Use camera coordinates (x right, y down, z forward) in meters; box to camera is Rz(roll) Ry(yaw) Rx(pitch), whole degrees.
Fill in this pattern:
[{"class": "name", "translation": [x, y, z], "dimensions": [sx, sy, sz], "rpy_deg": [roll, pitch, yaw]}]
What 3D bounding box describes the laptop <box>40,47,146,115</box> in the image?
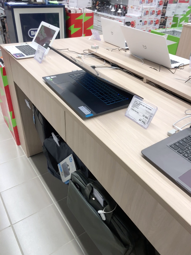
[{"class": "laptop", "translation": [-0.032, -0.226, 0.909], "dimensions": [0.271, 0.129, 0.391], "rpy_deg": [-18, 37, -27]}]
